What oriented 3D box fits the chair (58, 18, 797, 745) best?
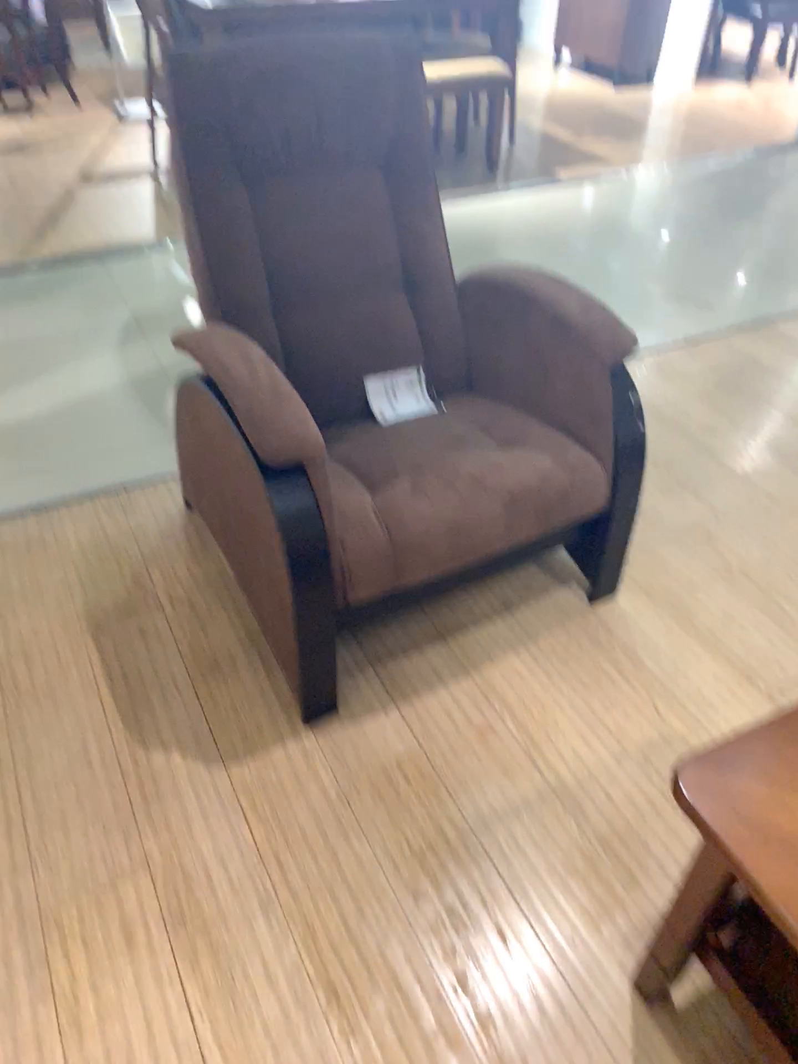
[{"bbox_3d":[-0.037,-0.384,1.580,0.801,0.886,1.003,-19,44,-23],"label":"chair"}]
